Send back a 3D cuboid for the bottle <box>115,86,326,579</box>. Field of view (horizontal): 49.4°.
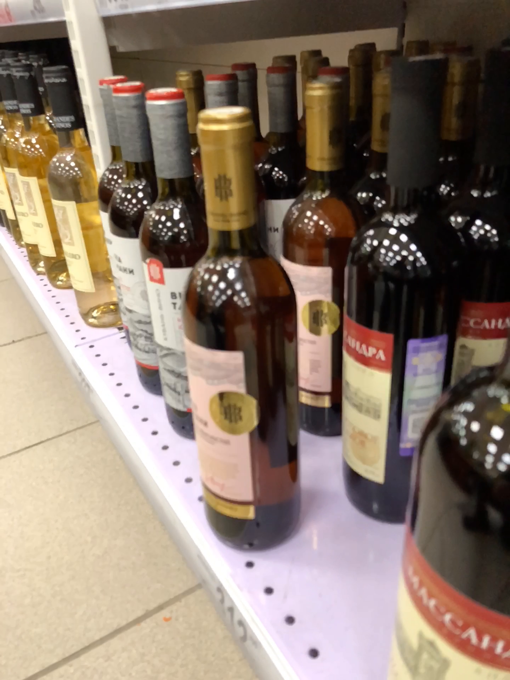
[{"bbox_3d":[-0.010,0.006,0.344,0.070,0.290,0.080,-25,36,-33],"label":"bottle"}]
